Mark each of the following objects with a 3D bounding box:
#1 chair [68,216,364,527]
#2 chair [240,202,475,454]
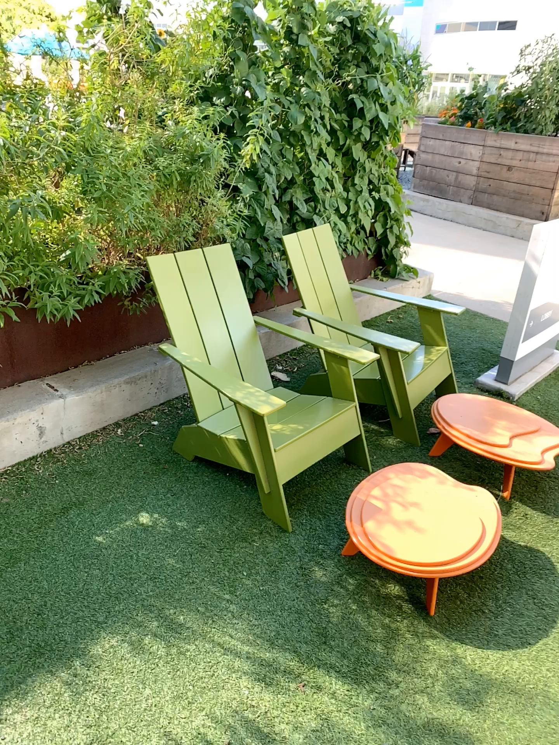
[{"bbox_3d":[-0.244,-0.078,2.461,0.821,1.006,0.772,7,21,43],"label":"chair"},{"bbox_3d":[0.430,-0.262,2.960,0.821,1.016,0.732,5,23,41],"label":"chair"}]
